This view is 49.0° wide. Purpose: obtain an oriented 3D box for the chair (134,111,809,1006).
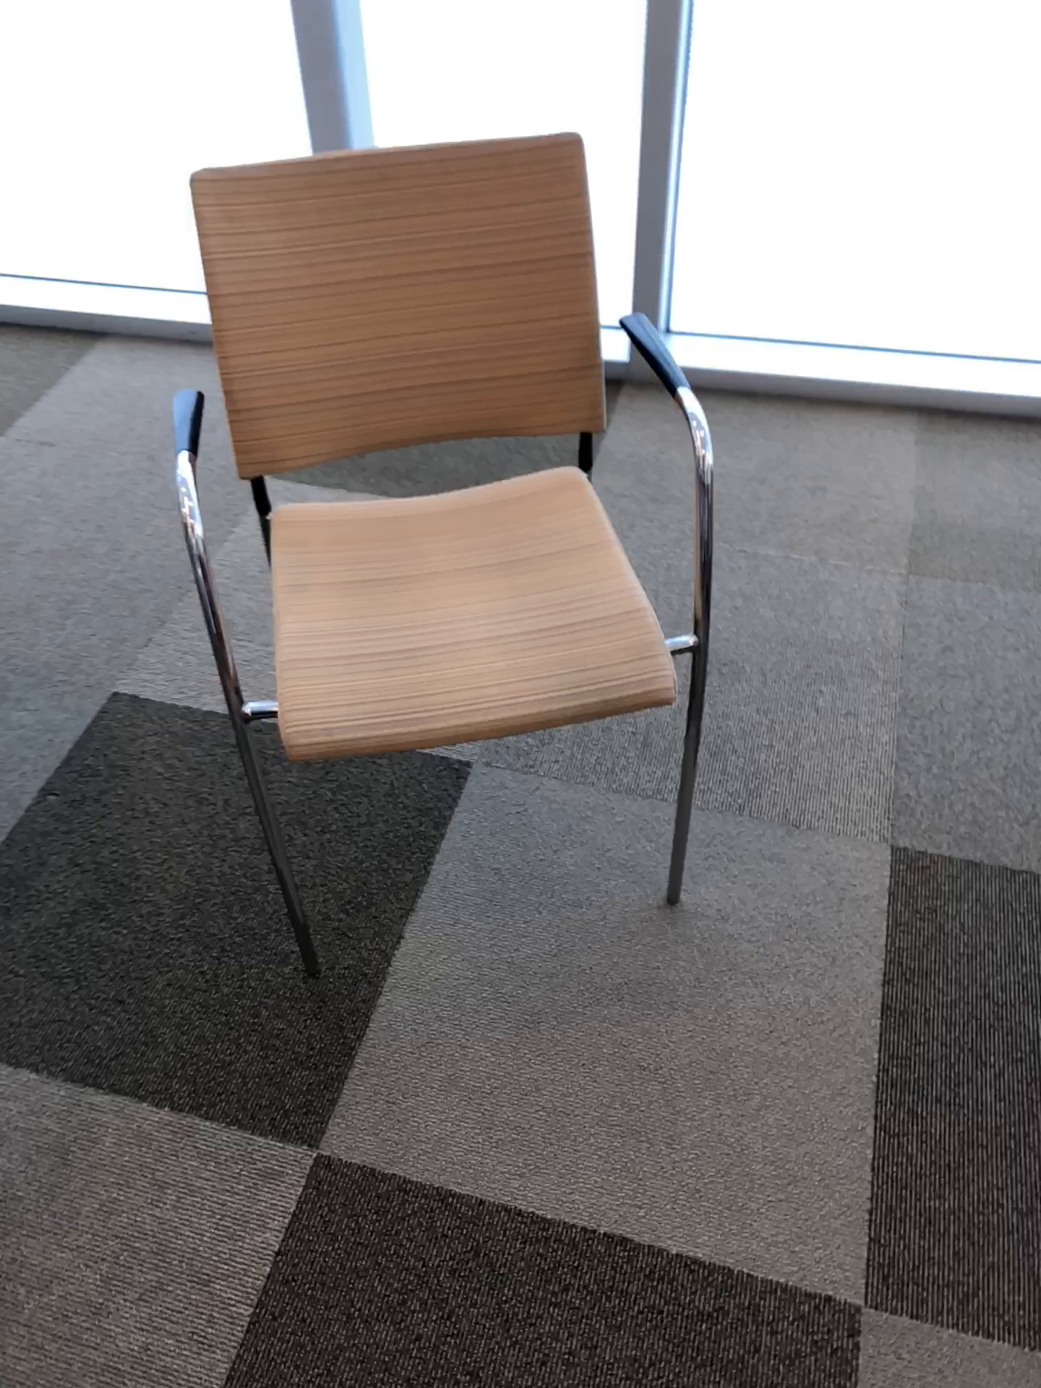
[{"bbox_3d":[-0.076,-0.138,1.326,0.515,0.796,0.548,-10,45,-8],"label":"chair"}]
